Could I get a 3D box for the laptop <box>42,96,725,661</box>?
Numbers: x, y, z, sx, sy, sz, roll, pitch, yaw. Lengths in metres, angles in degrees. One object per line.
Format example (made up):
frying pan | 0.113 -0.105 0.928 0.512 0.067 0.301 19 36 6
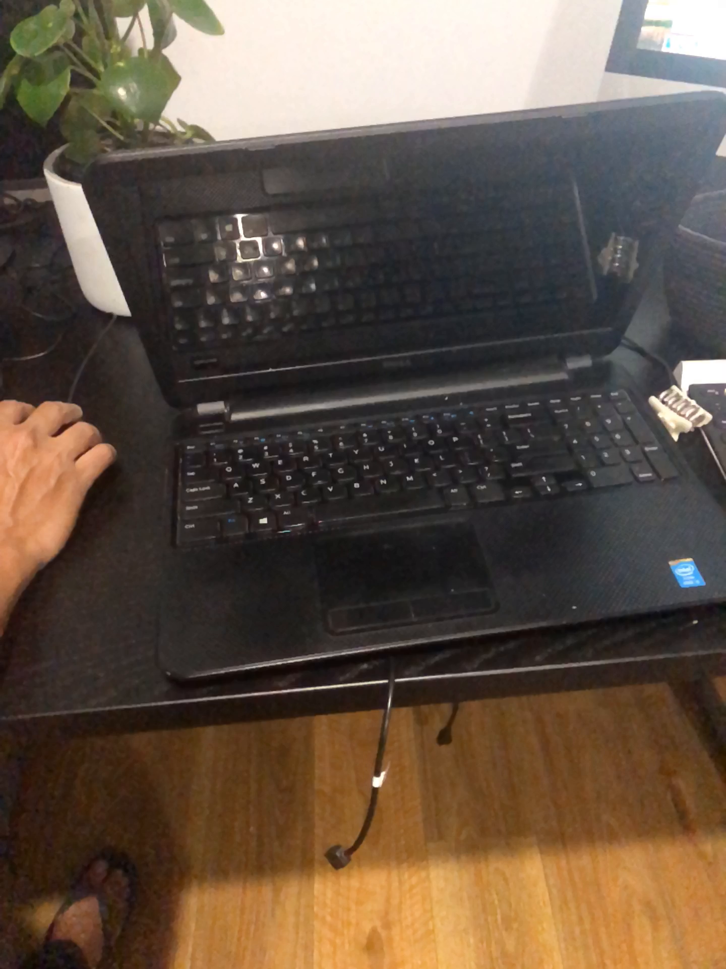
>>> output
laptop | 0.037 -0.067 0.477 0.366 0.210 0.207 -6 43 -3
